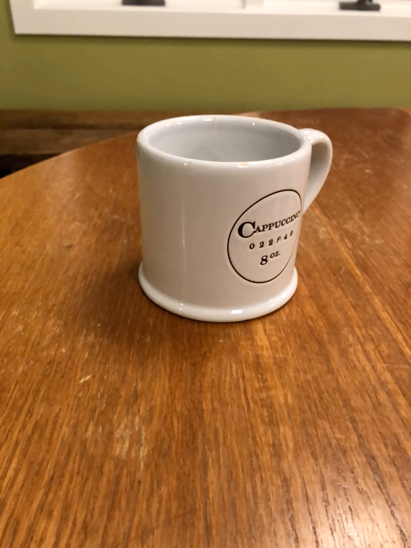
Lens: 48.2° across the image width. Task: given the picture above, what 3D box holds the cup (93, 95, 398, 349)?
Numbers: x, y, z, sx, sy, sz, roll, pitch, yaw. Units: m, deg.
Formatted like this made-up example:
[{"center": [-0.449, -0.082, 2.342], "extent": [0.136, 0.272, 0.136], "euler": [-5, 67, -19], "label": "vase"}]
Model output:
[{"center": [0.024, -0.042, 0.260], "extent": [0.136, 0.082, 0.090], "euler": [-25, 41, -35], "label": "cup"}]
